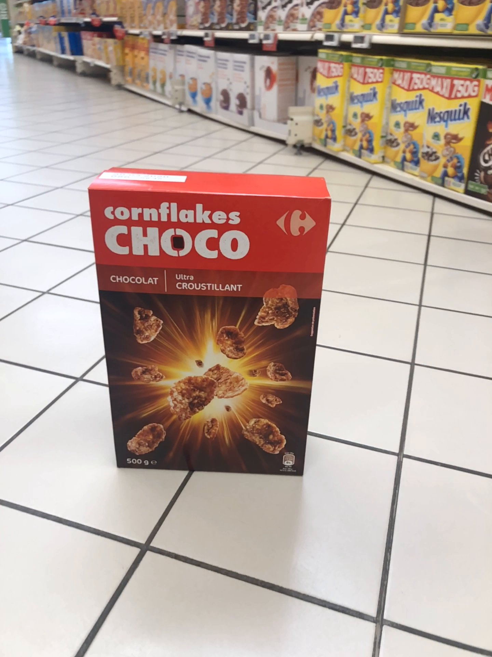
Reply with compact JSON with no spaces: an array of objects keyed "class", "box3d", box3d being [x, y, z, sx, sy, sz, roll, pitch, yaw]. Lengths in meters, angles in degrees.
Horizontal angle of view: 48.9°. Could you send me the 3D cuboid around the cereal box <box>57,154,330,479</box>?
[{"class":"cereal box","box3d":[-0.042,-0.004,0.500,0.200,0.278,0.091,3,27,1]}]
